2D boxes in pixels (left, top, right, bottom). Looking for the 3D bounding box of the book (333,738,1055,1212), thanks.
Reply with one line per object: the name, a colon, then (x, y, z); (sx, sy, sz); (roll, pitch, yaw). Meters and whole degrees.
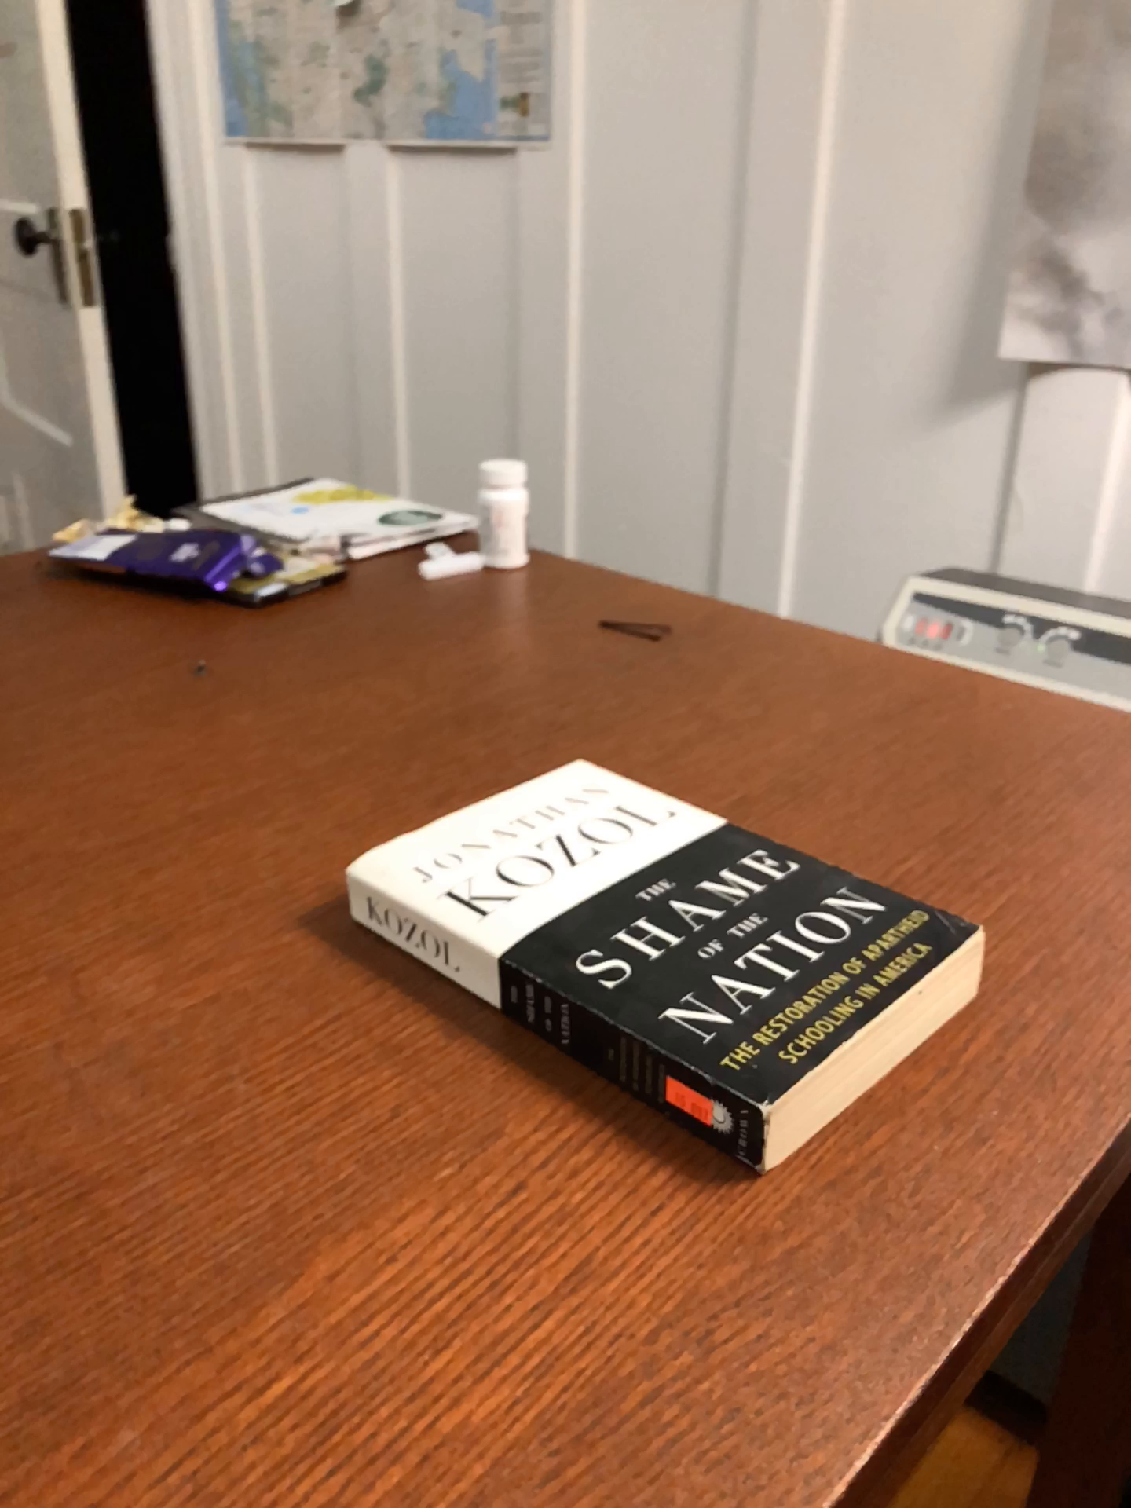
book: (0.044, 0.065, 0.495); (0.230, 0.030, 0.161); (23, 33, 39)
